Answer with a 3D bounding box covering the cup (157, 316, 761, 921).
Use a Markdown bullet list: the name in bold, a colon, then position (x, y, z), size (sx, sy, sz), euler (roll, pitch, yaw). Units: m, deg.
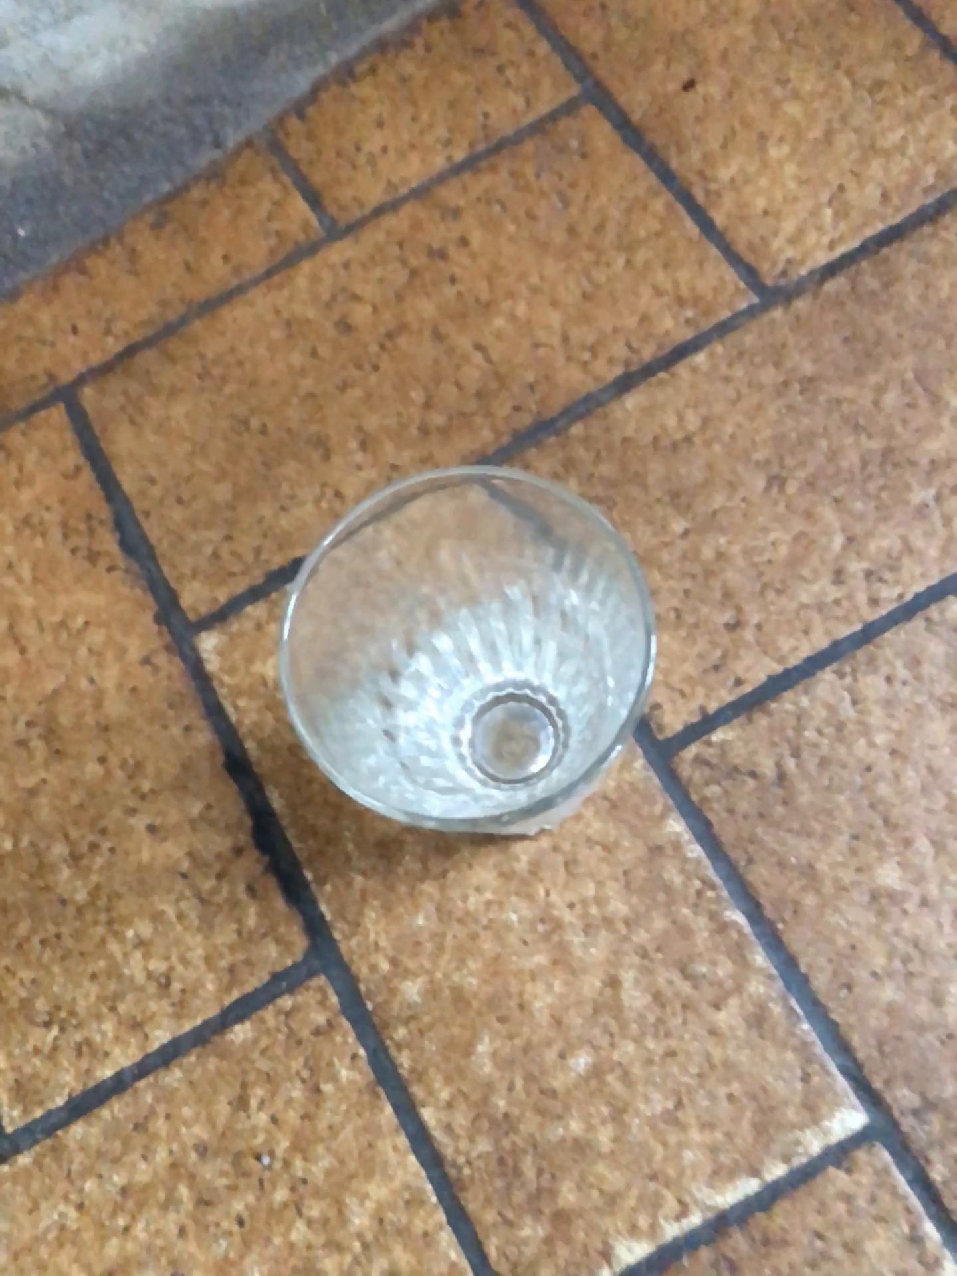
- **cup**: position (0.003, 0.008, 0.230), size (0.070, 0.120, 0.070), euler (-2, 73, 7)
